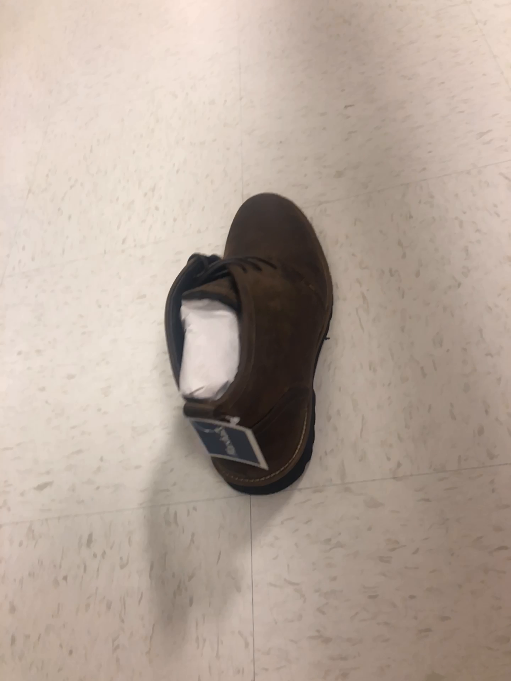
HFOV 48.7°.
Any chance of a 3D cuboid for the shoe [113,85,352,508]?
[{"bbox_3d":[0.001,-0.035,0.453,0.115,0.167,0.283,-7,55,14],"label":"shoe"}]
